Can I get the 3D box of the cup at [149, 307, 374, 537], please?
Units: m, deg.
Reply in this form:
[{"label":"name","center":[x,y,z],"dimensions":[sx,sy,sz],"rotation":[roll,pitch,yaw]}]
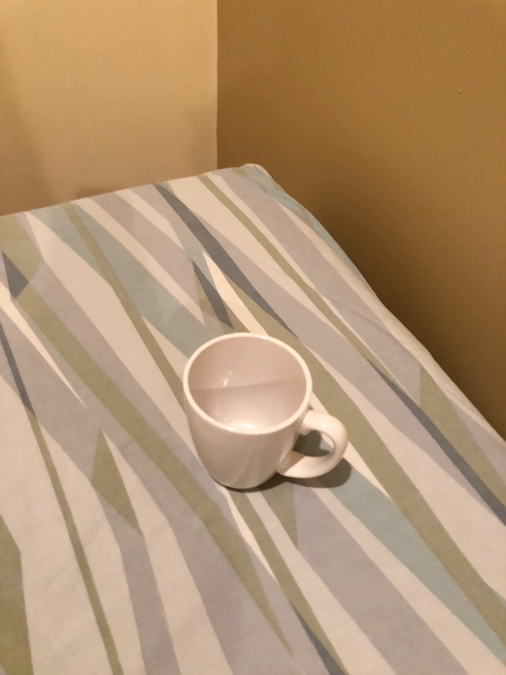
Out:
[{"label":"cup","center":[0.007,0.057,0.390],"dimensions":[0.120,0.090,0.090],"rotation":[18,49,14]}]
